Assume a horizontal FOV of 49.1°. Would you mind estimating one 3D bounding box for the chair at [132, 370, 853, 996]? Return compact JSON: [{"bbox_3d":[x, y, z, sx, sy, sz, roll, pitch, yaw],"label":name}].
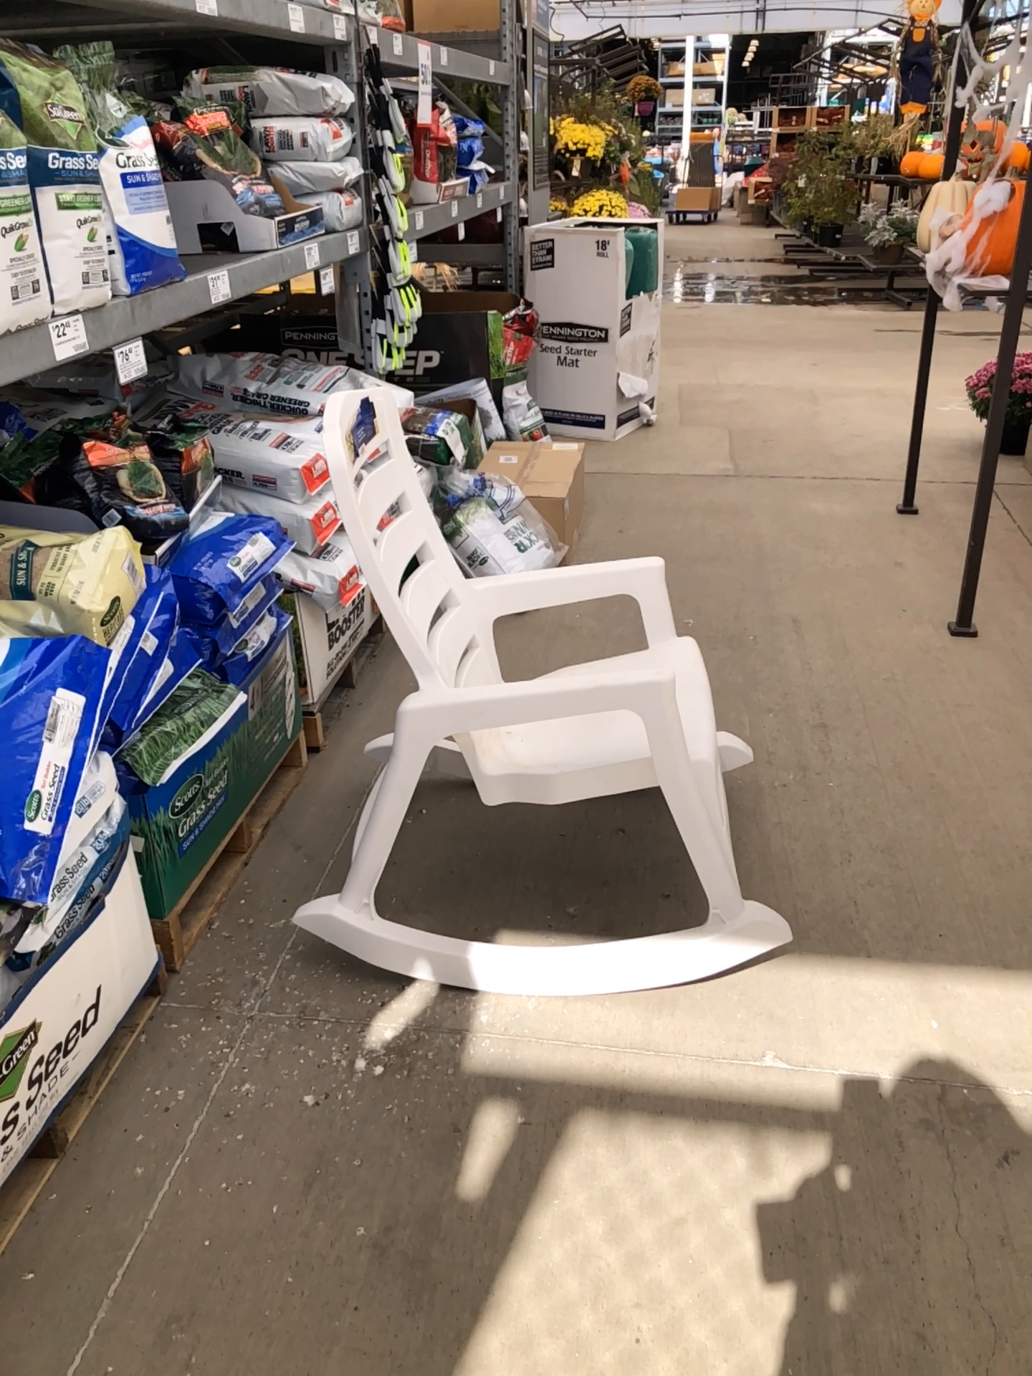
[{"bbox_3d":[-0.007,-0.062,2.183,1.031,0.928,0.848,-1,24,3],"label":"chair"}]
